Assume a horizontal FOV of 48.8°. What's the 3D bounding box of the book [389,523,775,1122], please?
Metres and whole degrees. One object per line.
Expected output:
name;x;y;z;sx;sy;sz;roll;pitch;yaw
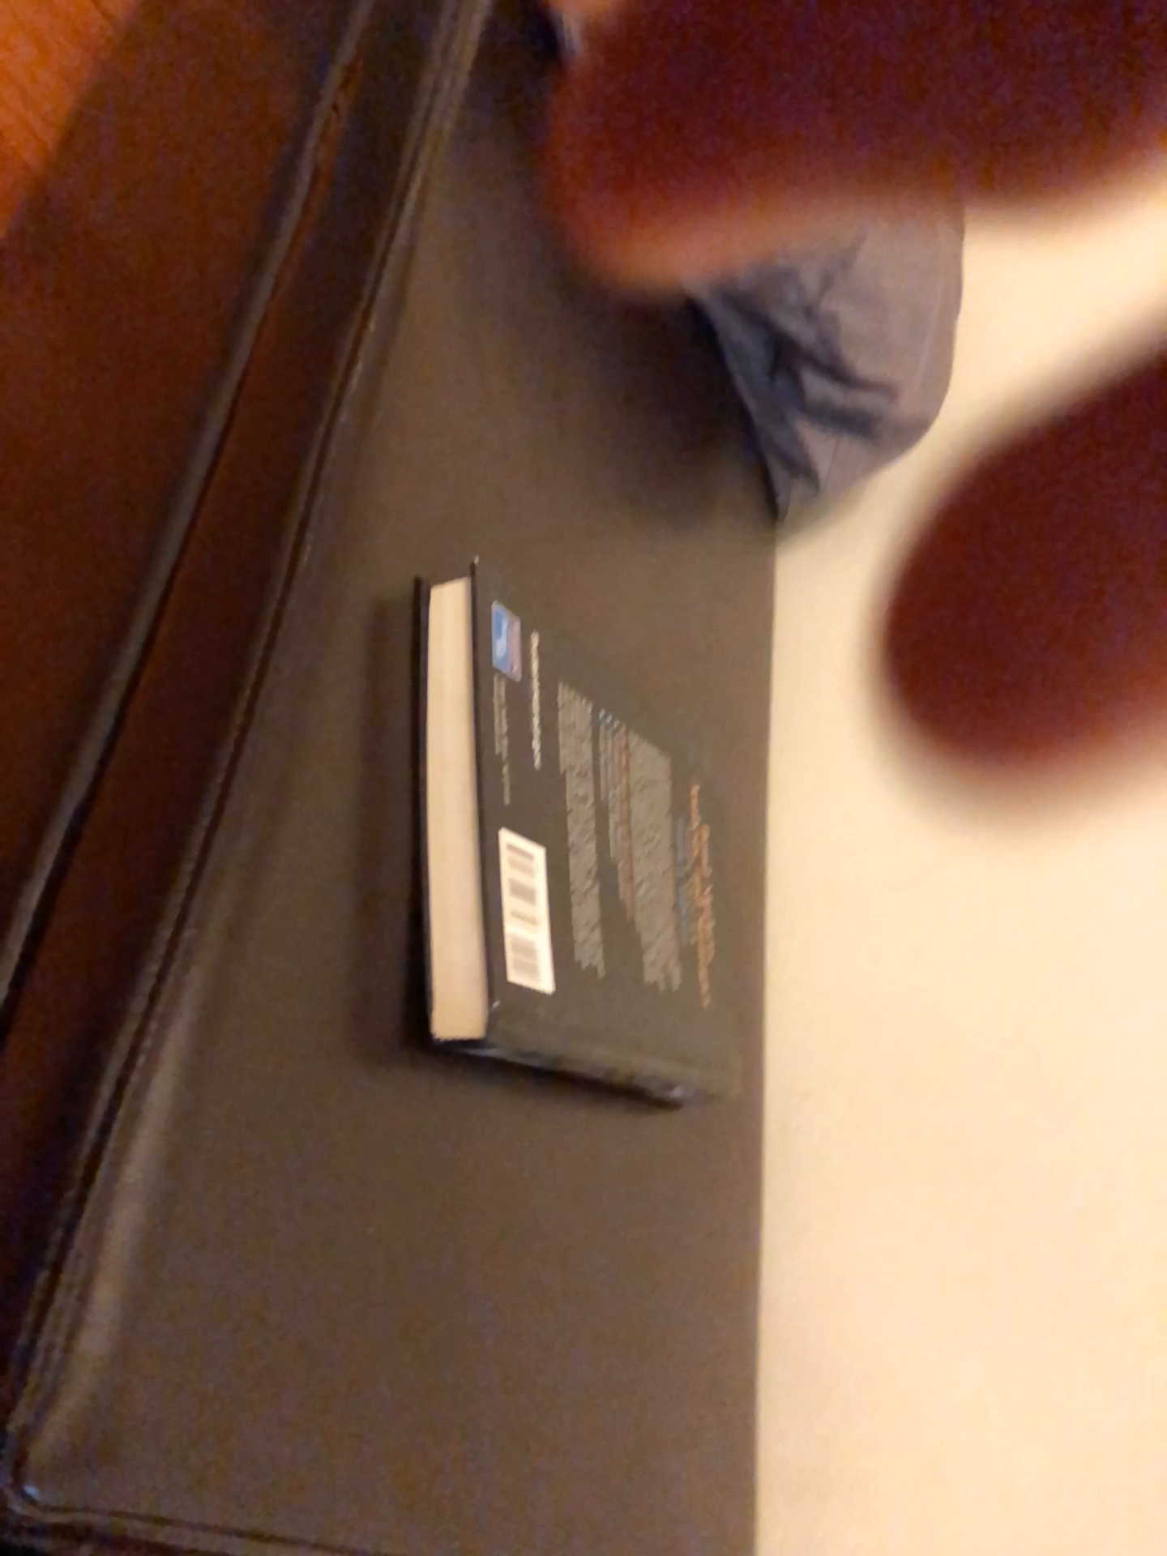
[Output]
book;0.011;0.039;0.564;0.261;0.040;0.200;31;52;-57
